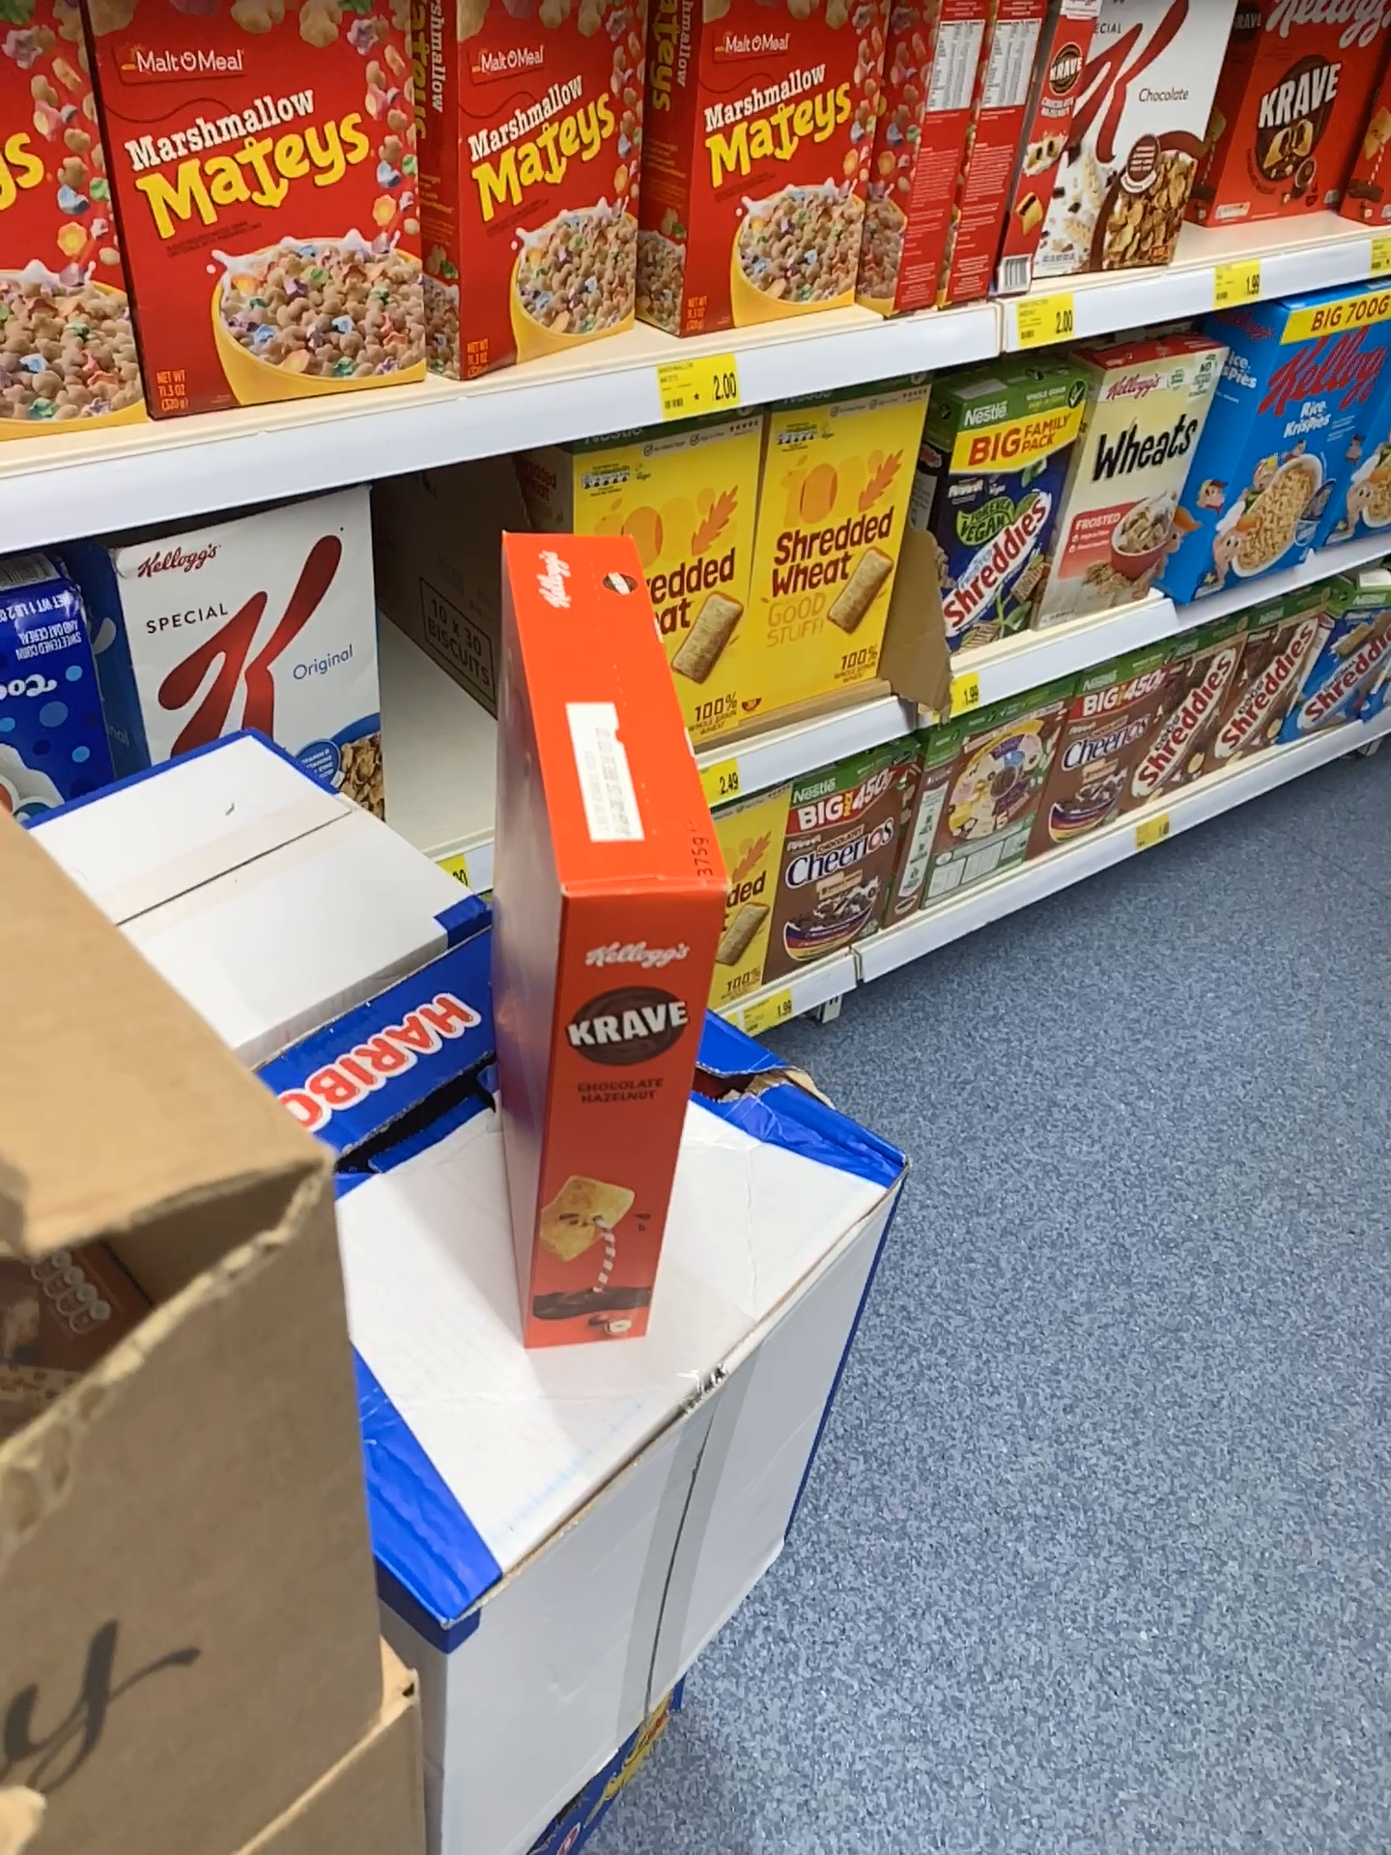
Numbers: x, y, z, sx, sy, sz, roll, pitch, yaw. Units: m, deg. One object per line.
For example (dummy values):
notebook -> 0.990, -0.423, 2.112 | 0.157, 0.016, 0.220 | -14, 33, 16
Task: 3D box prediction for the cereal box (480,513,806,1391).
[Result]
cereal box -> -0.035, 0.010, 0.510 | 0.060, 0.238, 0.202 | -2, 44, -13
